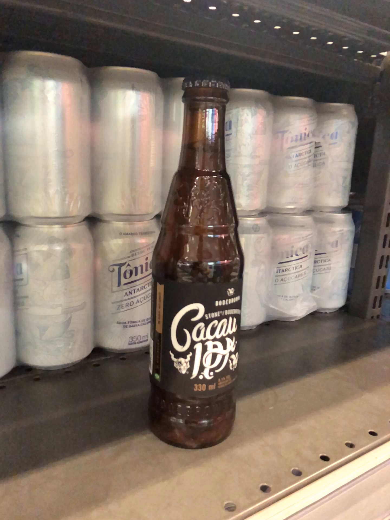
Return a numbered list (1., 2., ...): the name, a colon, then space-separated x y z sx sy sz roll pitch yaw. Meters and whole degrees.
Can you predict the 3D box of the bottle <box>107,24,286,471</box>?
1. bottle: -0.009 -0.003 0.281 0.080 0.249 0.070 -3 16 -24
